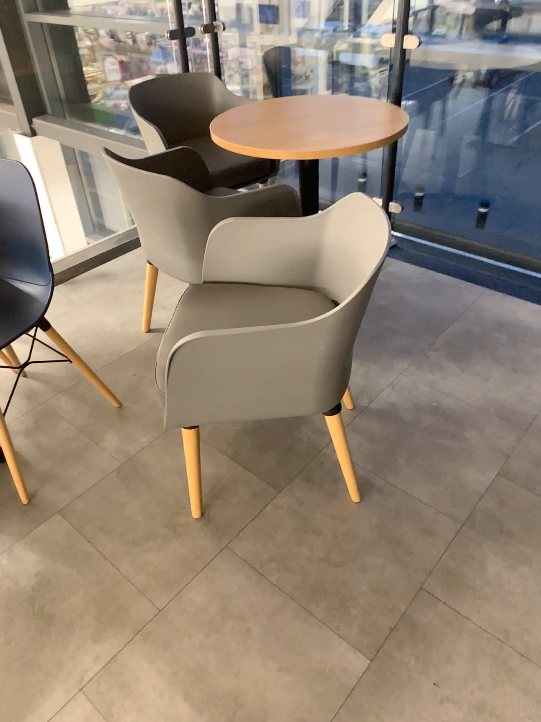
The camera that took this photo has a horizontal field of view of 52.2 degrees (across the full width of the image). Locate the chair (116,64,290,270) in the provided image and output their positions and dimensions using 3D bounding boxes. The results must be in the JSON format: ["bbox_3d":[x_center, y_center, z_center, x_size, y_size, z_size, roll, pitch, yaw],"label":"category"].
[{"bbox_3d":[-0.292,-0.937,2.620,0.486,0.724,0.583,-32,45,-32],"label":"chair"}]

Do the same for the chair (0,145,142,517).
[{"bbox_3d":[-0.762,-0.092,1.505,0.474,0.784,0.514,13,40,20],"label":"chair"}]

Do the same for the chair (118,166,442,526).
[{"bbox_3d":[0.036,-0.035,1.426,0.580,0.734,0.549,0,37,3],"label":"chair"}]

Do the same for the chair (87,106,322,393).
[{"bbox_3d":[-0.195,-0.410,1.941,0.541,0.724,0.517,-28,44,-28],"label":"chair"}]
